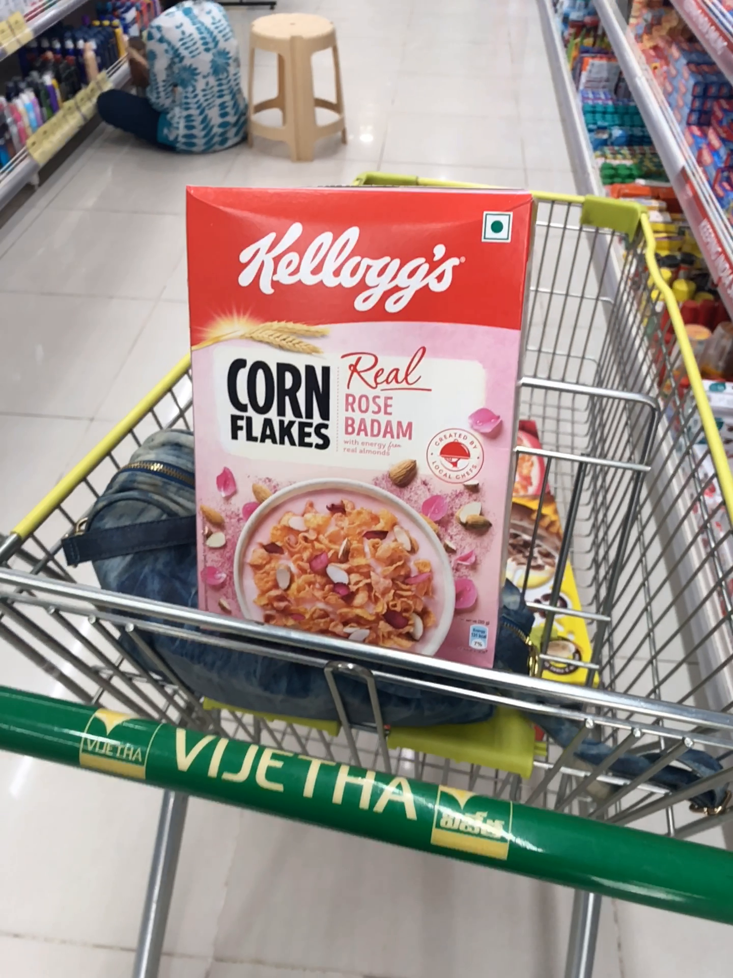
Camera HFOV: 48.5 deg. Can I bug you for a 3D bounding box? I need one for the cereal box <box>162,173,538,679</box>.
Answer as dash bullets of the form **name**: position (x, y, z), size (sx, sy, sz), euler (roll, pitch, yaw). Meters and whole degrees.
- **cereal box**: position (-0.008, -0.037, 0.488), size (0.190, 0.279, 0.070), euler (6, 23, 11)
